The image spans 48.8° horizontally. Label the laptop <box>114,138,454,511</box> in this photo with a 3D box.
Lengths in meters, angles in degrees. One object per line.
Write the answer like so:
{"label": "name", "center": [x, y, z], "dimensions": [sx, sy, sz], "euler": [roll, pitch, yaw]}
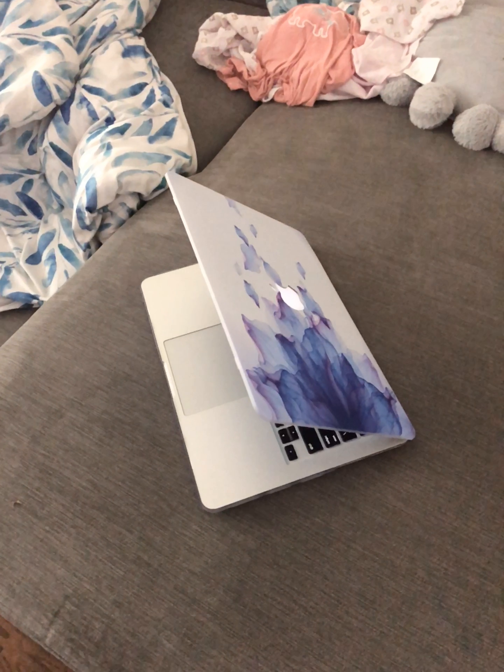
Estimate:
{"label": "laptop", "center": [0.009, -0.027, 0.566], "dimensions": [0.217, 0.137, 0.309], "euler": [-17, 55, -8]}
